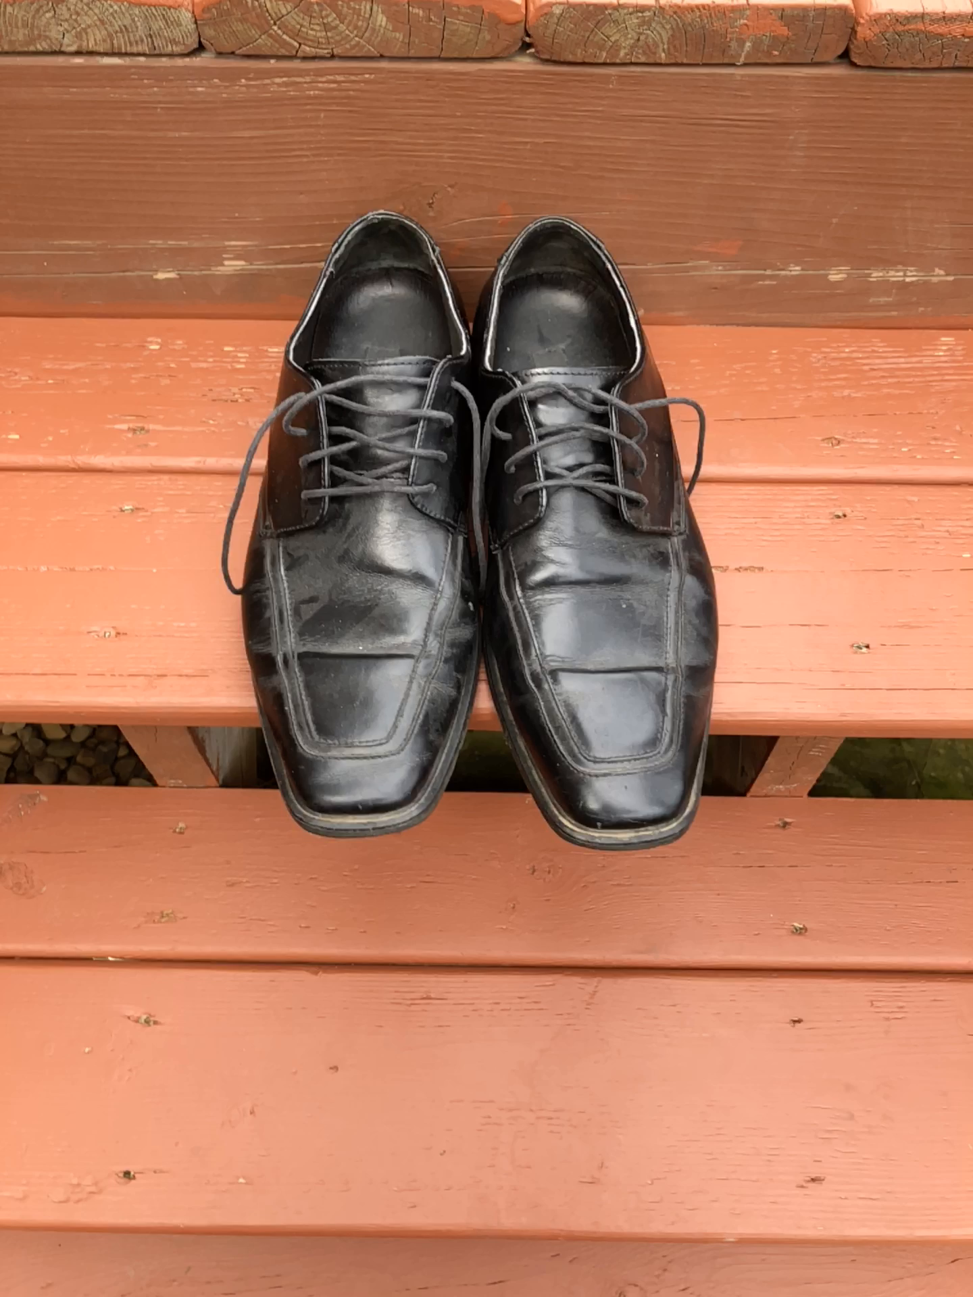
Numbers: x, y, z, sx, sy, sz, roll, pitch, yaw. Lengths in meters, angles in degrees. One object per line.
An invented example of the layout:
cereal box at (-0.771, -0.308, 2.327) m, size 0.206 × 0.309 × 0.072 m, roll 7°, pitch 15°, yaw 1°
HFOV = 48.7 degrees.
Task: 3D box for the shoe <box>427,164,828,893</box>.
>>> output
shoe at (0.045, -0.067, 0.503) m, size 0.130 × 0.110 × 0.330 m, roll -3°, pitch 61°, yaw -2°

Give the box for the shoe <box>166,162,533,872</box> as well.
shoe at (-0.047, -0.073, 0.509) m, size 0.130 × 0.110 × 0.330 m, roll 1°, pitch 61°, yaw 0°
